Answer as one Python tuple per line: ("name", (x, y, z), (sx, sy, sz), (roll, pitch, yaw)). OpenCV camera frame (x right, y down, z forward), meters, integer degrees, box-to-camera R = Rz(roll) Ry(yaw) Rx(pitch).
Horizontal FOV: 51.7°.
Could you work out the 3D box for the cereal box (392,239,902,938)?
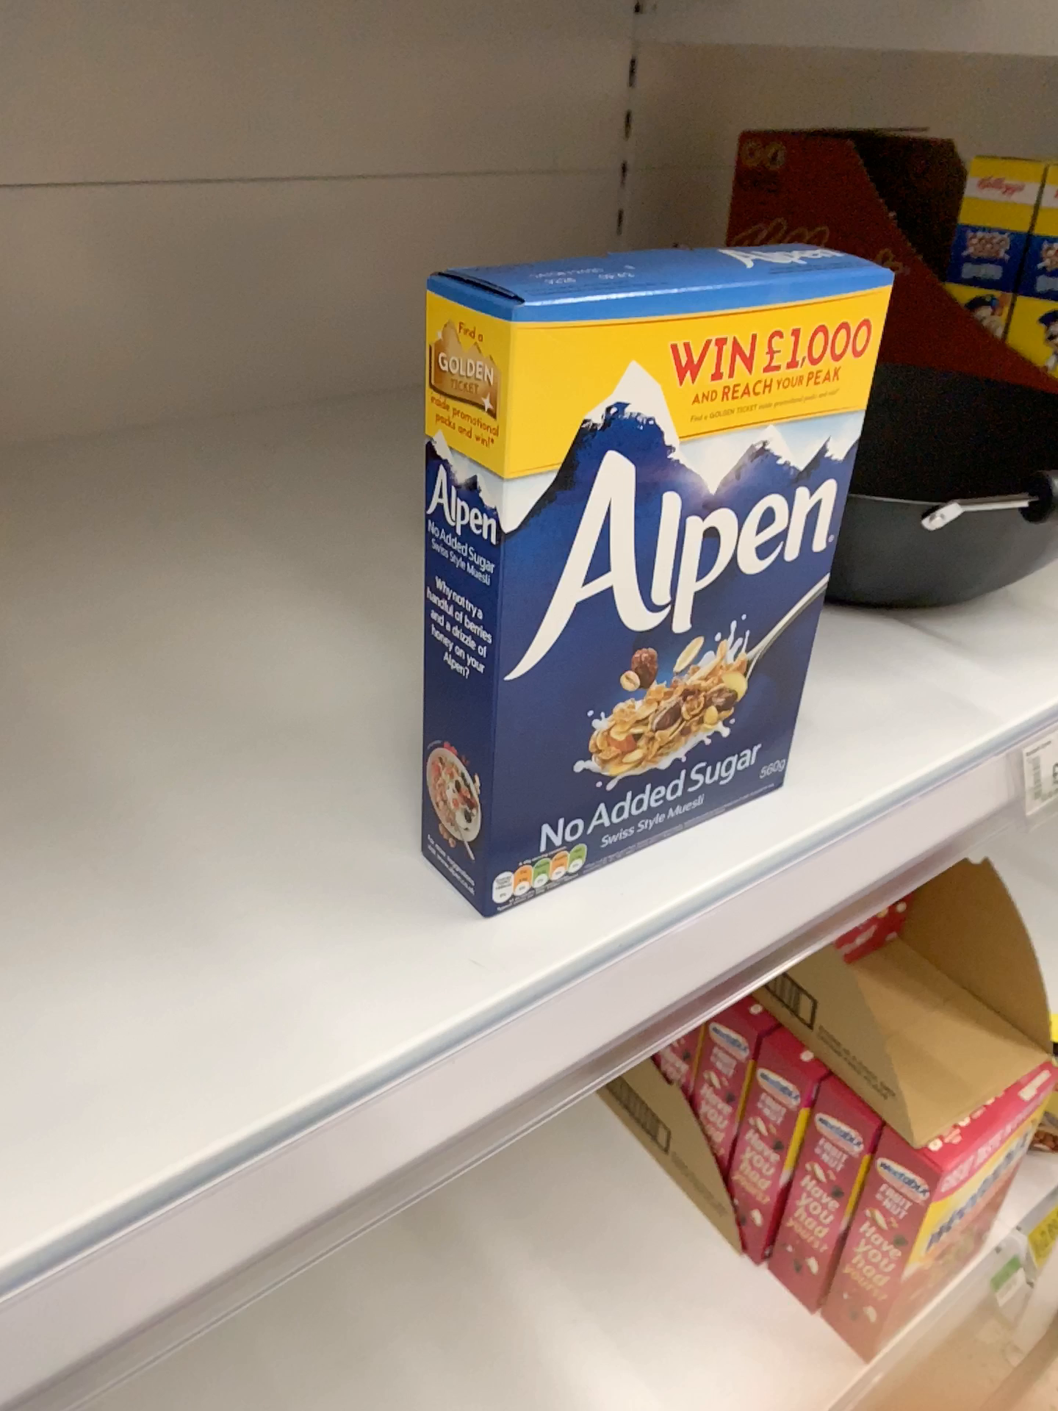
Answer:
("cereal box", (0.041, -0.050, 0.435), (0.181, 0.238, 0.060), (-18, 36, -32))
